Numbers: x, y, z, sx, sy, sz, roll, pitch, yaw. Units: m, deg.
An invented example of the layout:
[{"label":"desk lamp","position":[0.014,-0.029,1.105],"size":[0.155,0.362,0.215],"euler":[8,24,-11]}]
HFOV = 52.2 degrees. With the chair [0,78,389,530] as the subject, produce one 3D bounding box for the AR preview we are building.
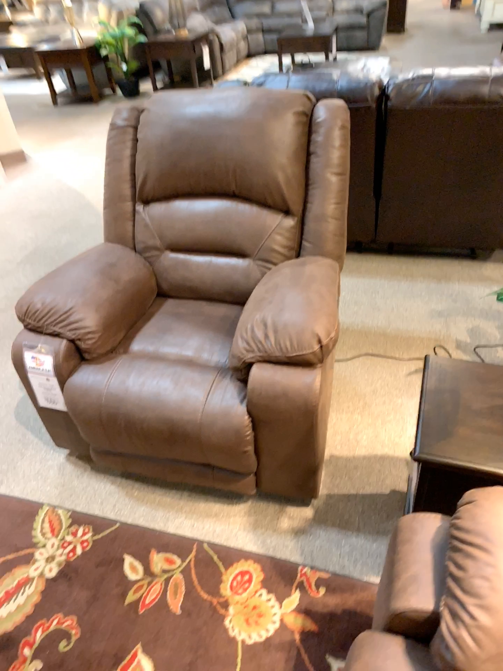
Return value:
[{"label":"chair","position":[-0.136,-0.202,1.790],"size":[1.002,1.026,1.069],"euler":[8,40,17]}]
